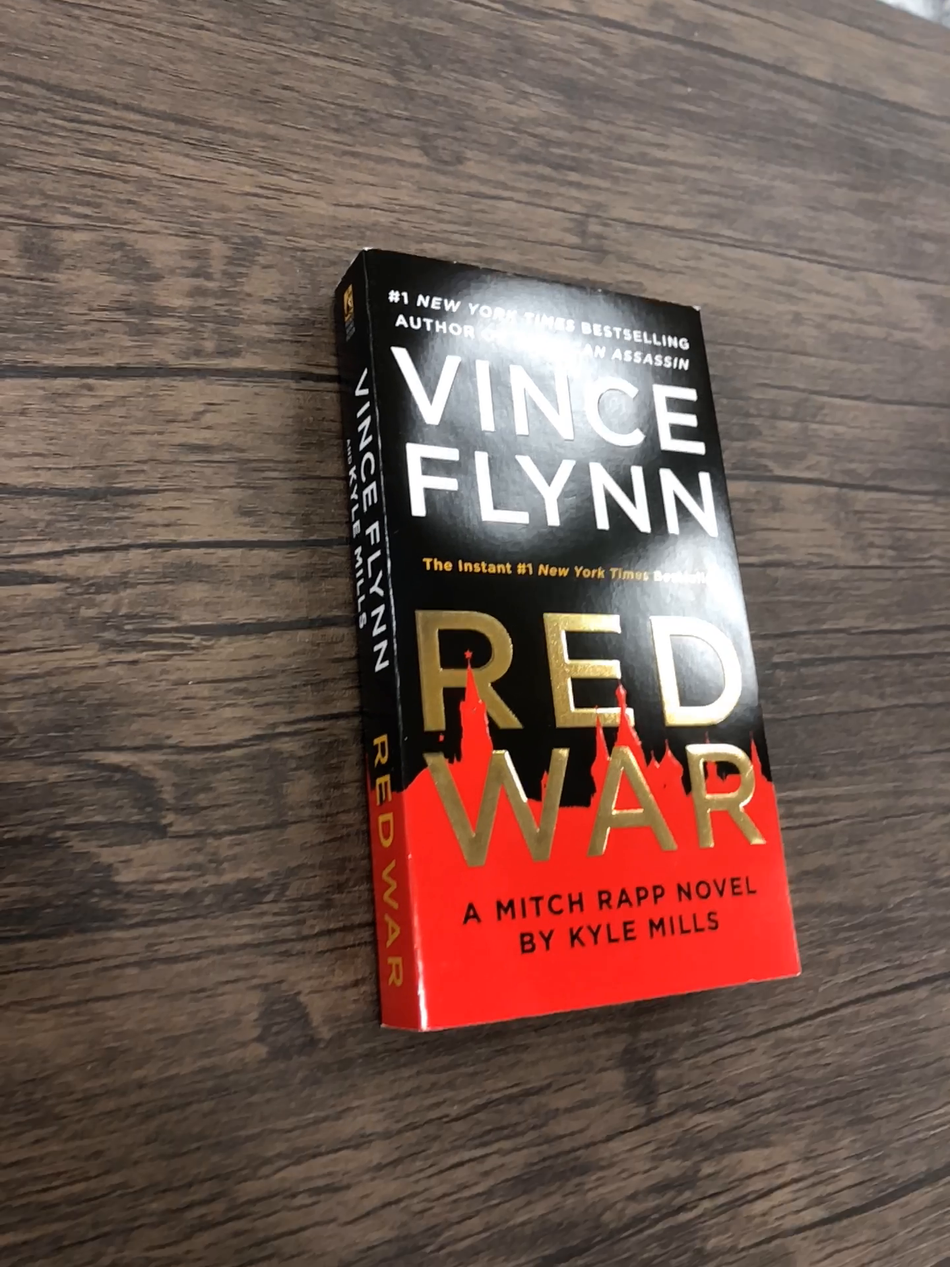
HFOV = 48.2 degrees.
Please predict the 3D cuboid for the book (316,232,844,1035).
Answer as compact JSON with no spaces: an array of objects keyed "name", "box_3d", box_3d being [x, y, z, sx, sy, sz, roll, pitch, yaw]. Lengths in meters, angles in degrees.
[{"name":"book","box_3d":[0.024,-0.004,0.270,0.110,0.030,0.183,1,73,-27]}]
